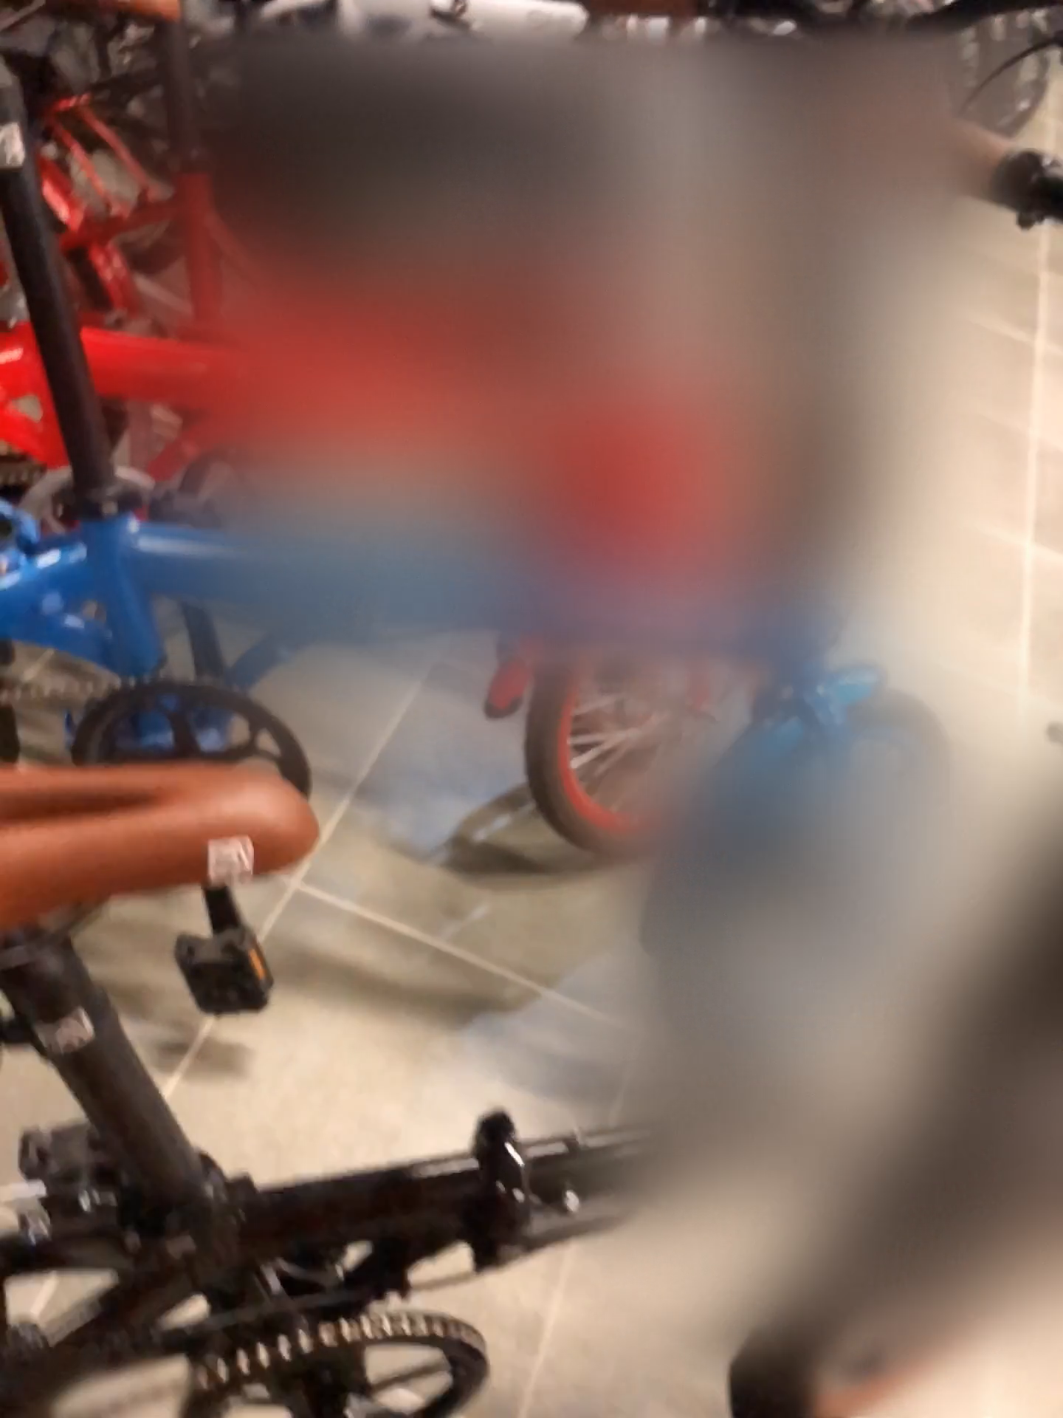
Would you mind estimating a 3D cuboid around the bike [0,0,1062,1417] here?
[{"bbox_3d":[-0.027,0.183,0.661,1.275,1.057,0.567,-3,49,-20],"label":"bike"}]

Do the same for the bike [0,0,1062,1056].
[{"bbox_3d":[-0.152,-0.230,1.063,1.373,1.029,0.570,7,46,-14],"label":"bike"}]
